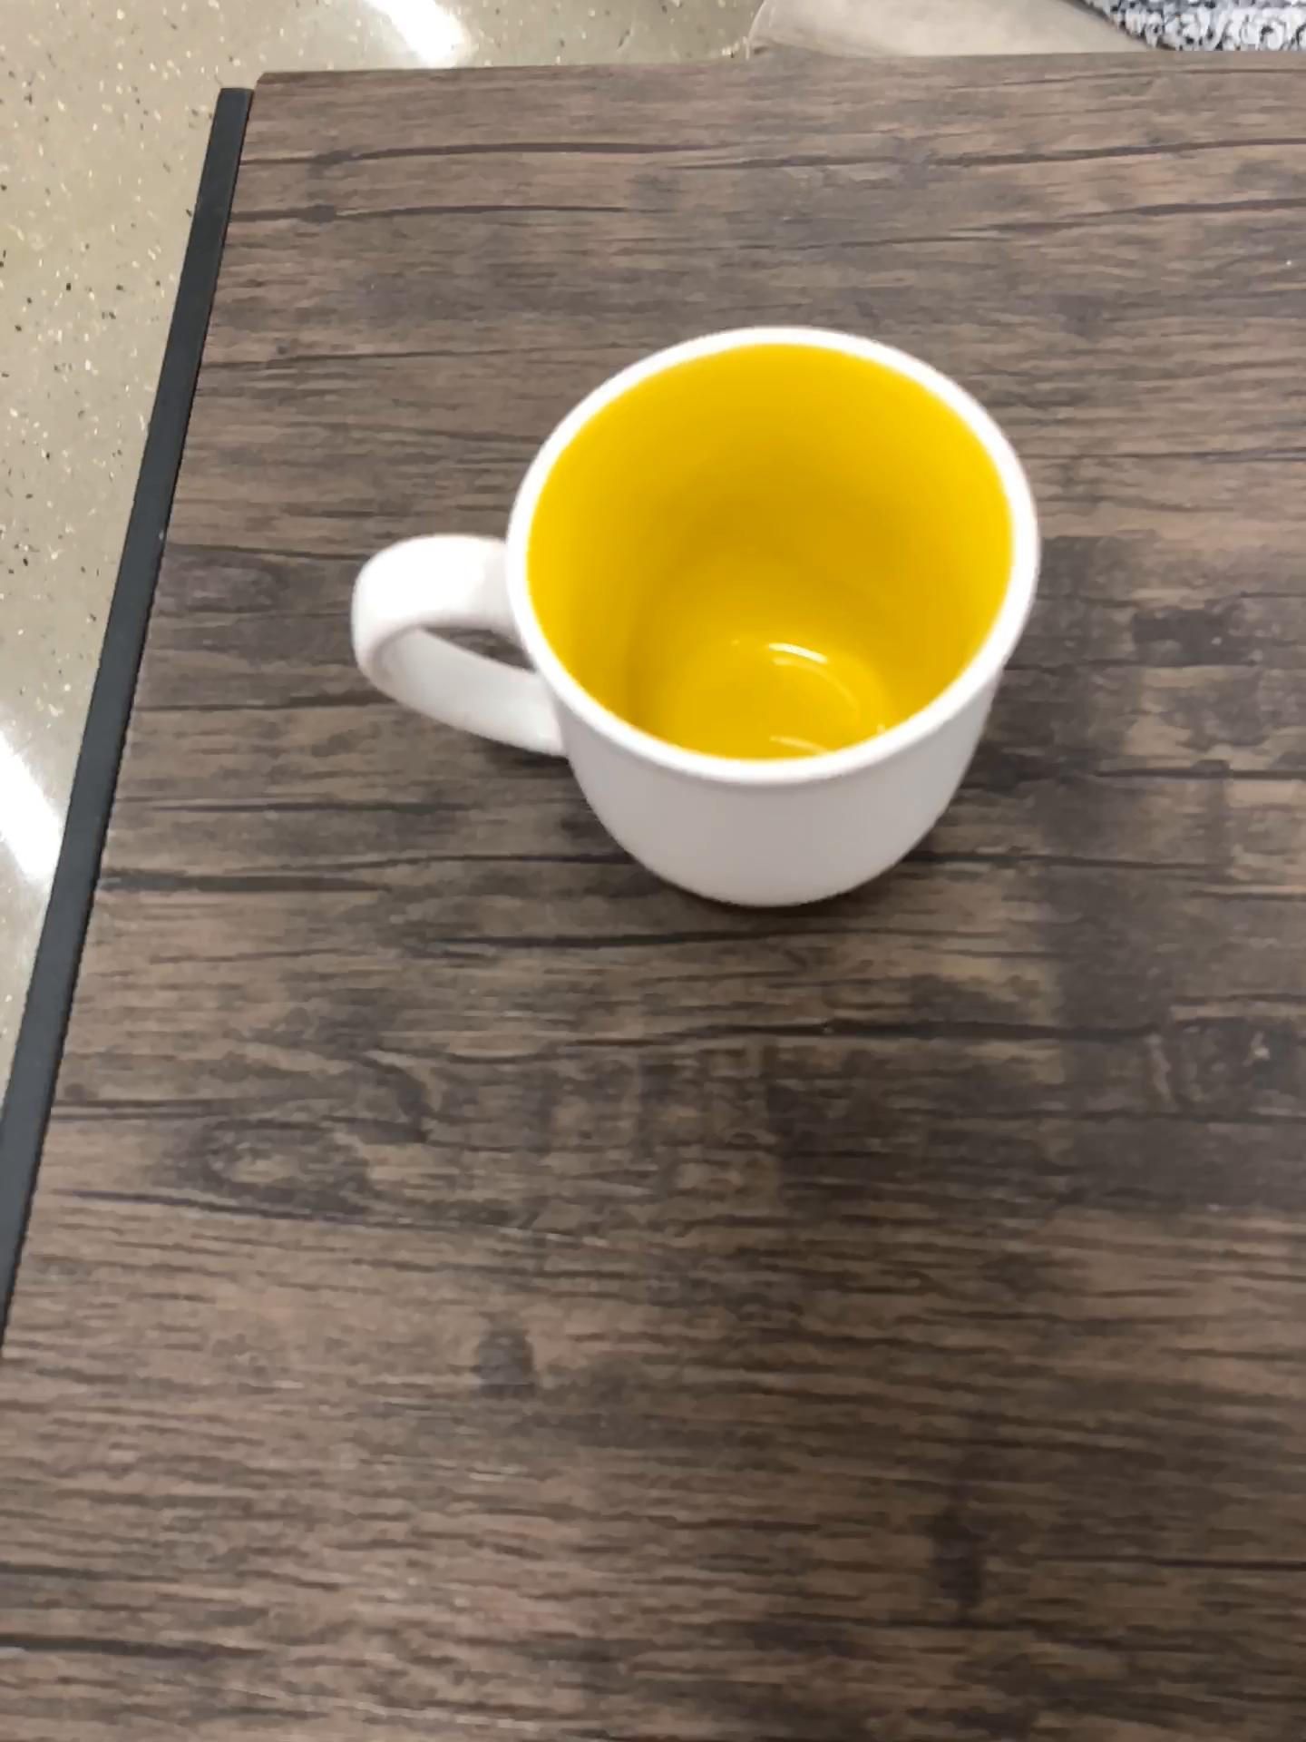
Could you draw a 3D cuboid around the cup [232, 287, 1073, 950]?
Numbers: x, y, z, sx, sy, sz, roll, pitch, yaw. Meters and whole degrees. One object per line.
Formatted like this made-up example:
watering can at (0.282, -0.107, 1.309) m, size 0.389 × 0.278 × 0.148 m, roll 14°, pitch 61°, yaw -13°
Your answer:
cup at (0.005, -0.044, 0.281) m, size 0.130 × 0.100 × 0.080 m, roll 4°, pitch 69°, yaw 6°
